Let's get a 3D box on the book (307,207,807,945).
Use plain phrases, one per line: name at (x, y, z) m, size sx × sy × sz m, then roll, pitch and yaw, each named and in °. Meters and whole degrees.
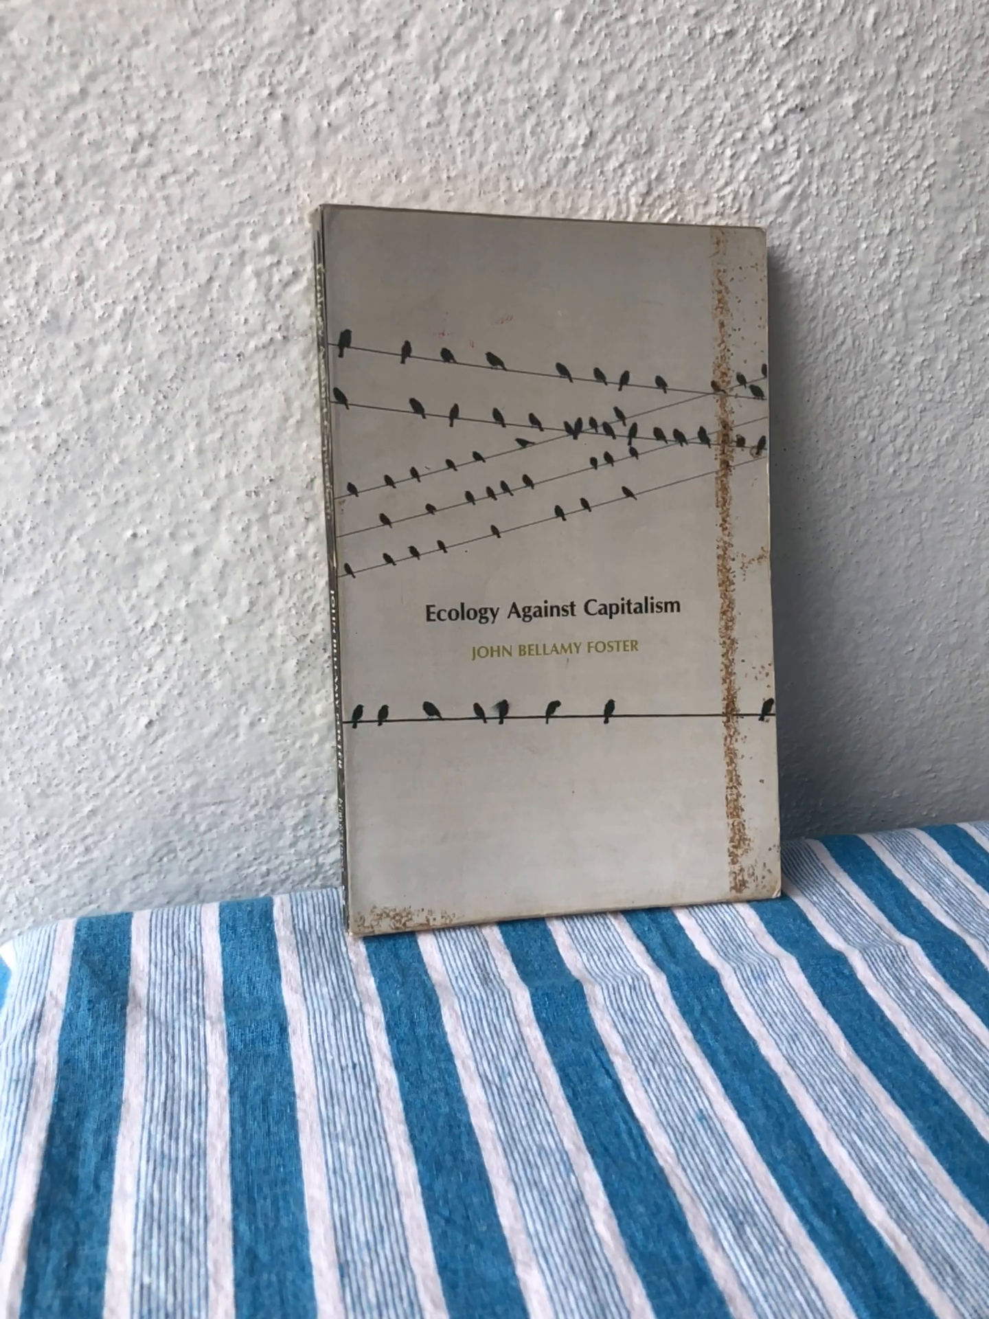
book at (0.019, -0.028, 0.338) m, size 0.140 × 0.210 × 0.030 m, roll -3°, pitch 1°, yaw -10°
